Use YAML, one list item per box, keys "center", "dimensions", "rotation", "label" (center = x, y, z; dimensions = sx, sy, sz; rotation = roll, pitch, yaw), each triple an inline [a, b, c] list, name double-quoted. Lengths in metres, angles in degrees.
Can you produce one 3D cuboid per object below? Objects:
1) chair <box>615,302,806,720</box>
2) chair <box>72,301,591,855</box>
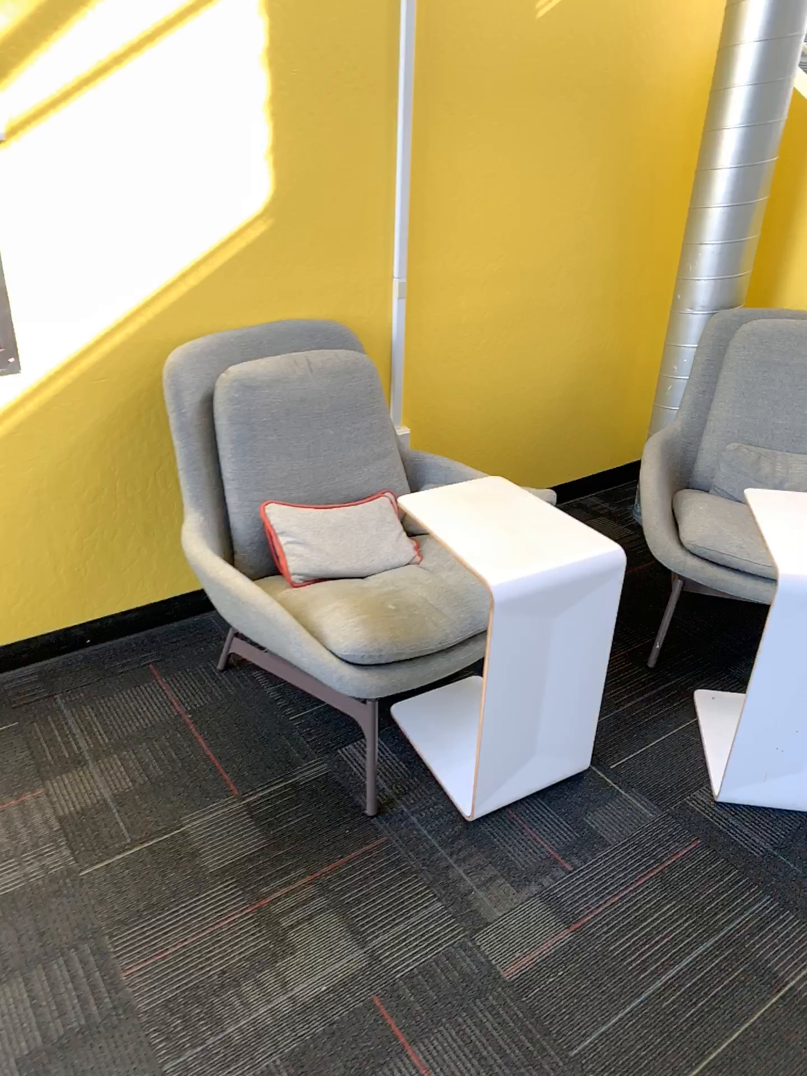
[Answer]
- center: [1.211, -0.152, 2.658]
  dimensions: [0.890, 1.015, 0.844]
  rotation: [7, 25, 11]
  label: "chair"
- center: [-0.176, -0.016, 2.048]
  dimensions: [0.802, 0.925, 0.873]
  rotation: [-22, 33, -38]
  label: "chair"
